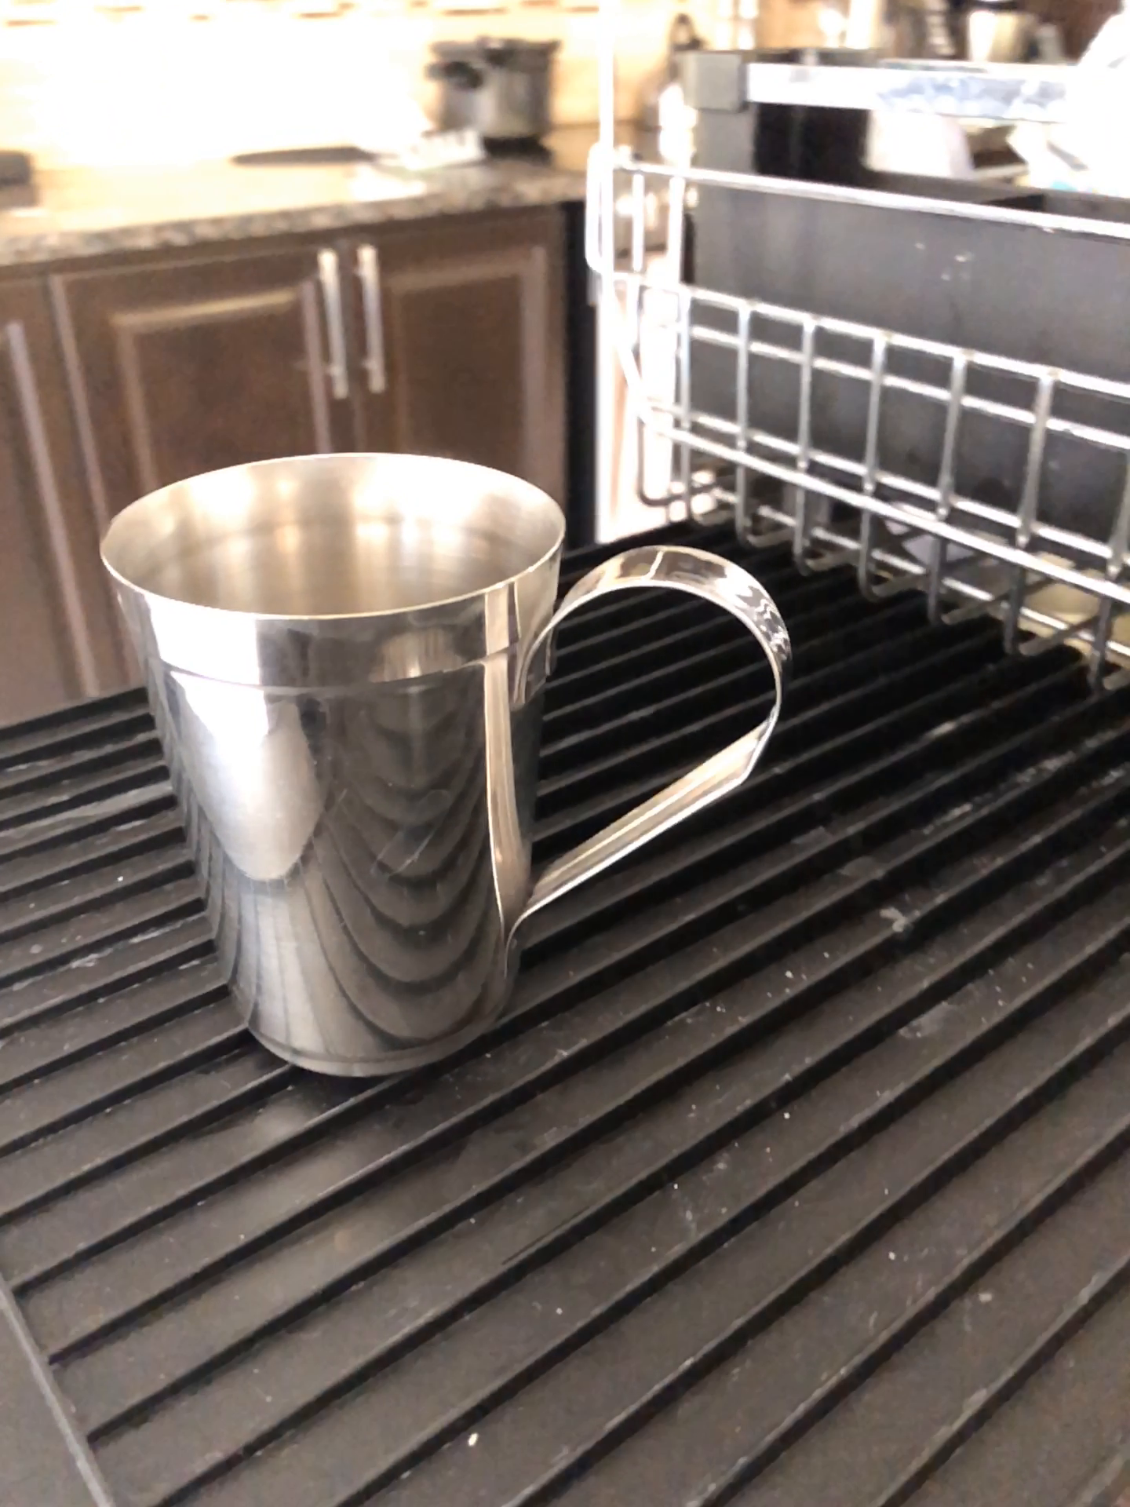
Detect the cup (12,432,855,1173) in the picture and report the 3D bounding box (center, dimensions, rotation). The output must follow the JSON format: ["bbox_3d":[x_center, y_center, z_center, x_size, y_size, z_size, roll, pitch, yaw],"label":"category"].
[{"bbox_3d":[-0.014,0.005,0.214,0.110,0.097,0.066,4,31,7],"label":"cup"}]
